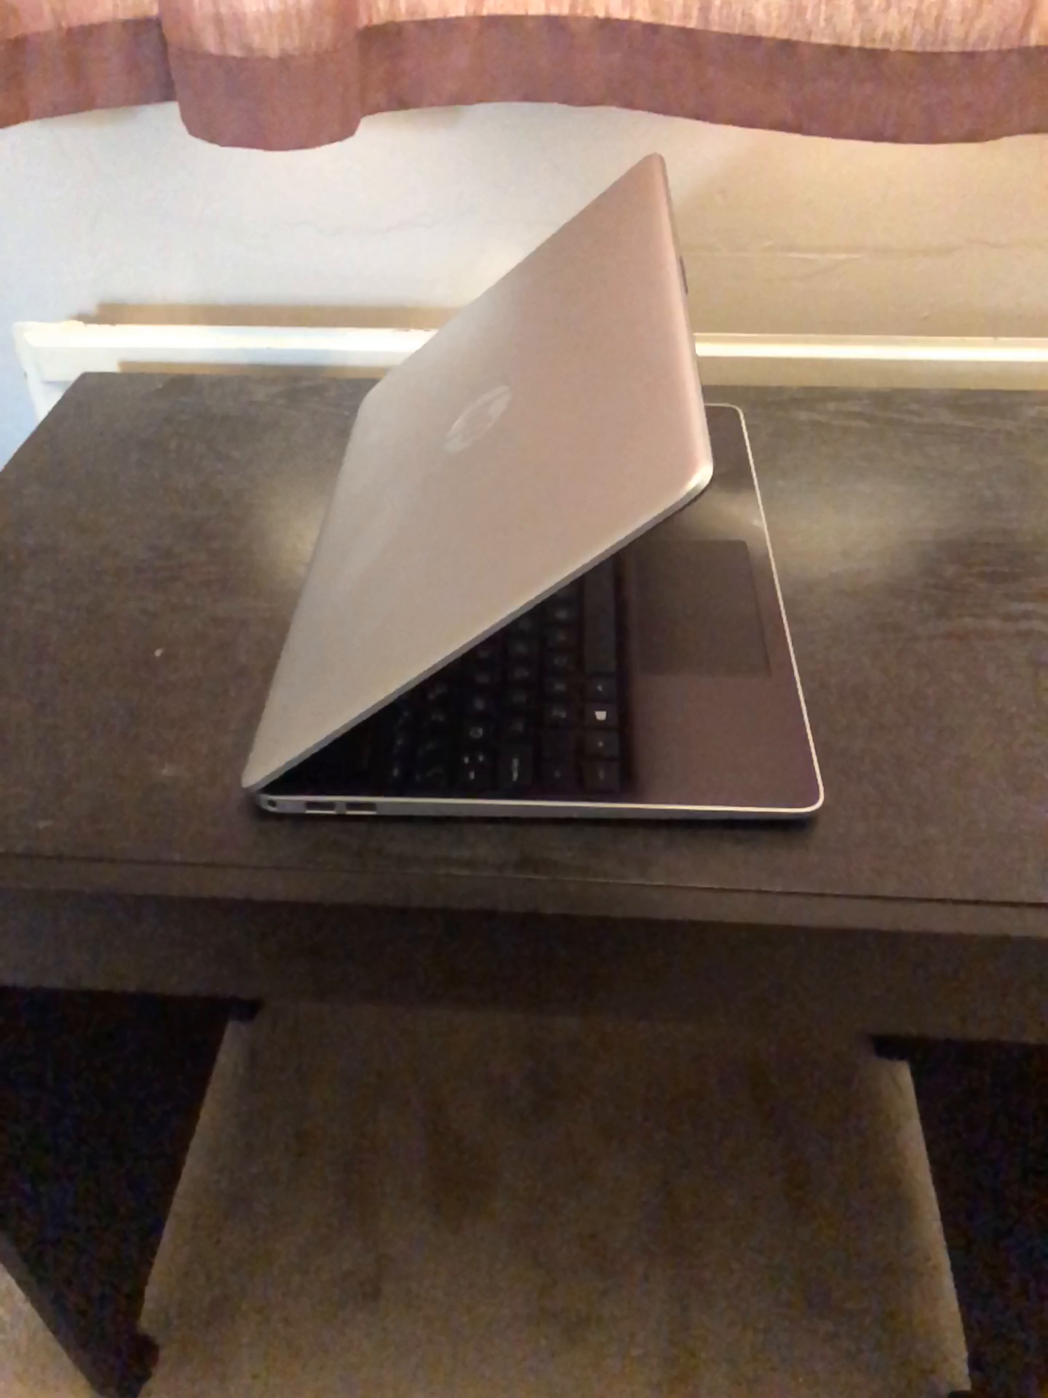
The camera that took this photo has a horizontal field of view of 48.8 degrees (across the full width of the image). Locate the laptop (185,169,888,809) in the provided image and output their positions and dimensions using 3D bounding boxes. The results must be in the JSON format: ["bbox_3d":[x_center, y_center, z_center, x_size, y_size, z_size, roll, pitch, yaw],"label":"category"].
[{"bbox_3d":[0.014,-0.129,0.571,0.236,0.141,0.363,2,40,1],"label":"laptop"}]
